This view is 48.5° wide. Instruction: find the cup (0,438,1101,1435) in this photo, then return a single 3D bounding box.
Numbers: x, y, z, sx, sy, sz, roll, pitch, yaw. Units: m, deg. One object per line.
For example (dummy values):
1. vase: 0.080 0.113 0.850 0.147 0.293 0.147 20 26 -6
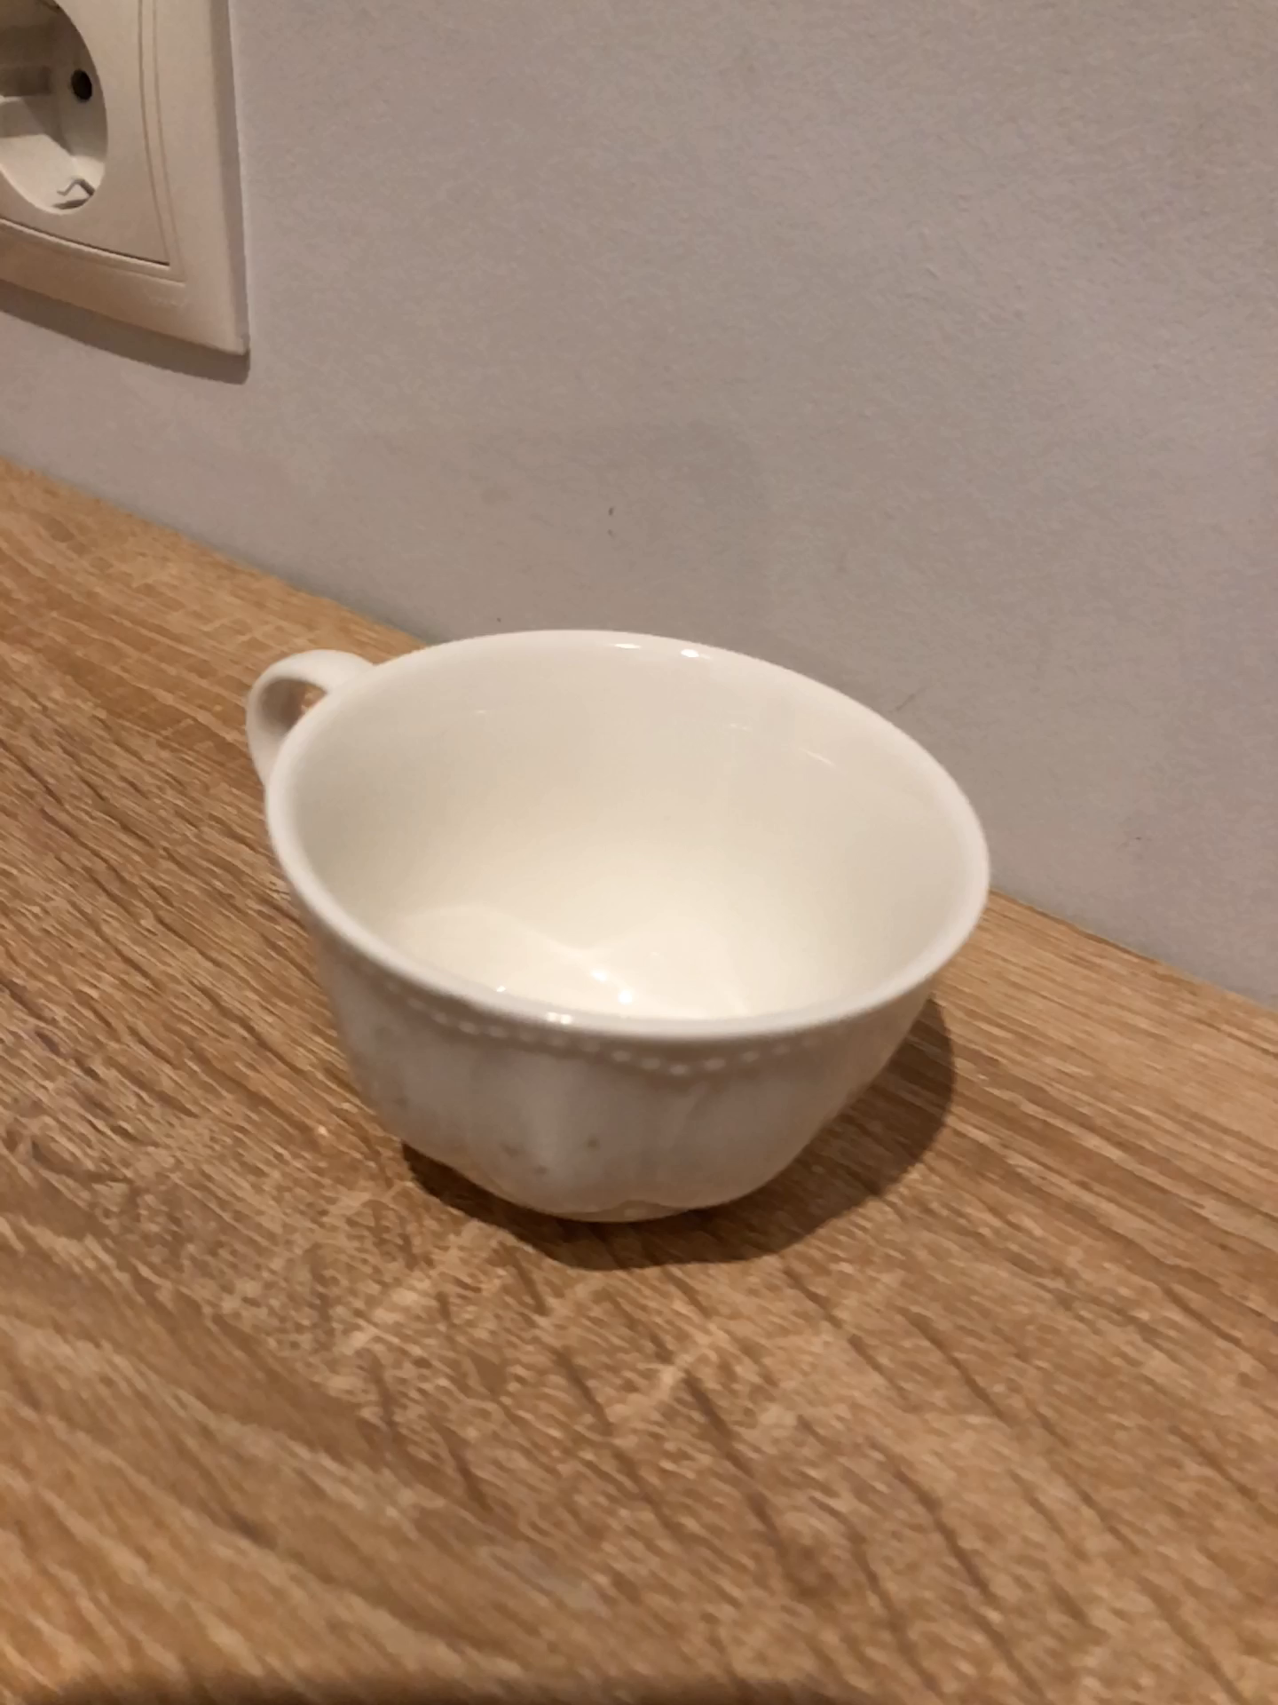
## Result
1. cup: -0.014 0.000 0.152 0.100 0.050 0.060 22 38 22
